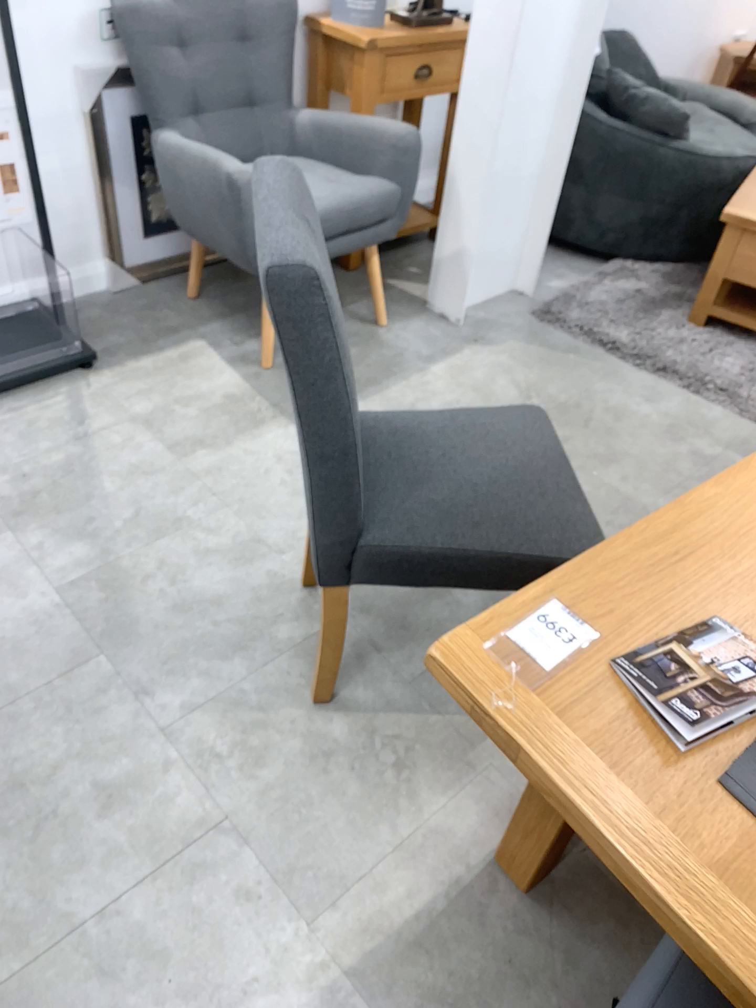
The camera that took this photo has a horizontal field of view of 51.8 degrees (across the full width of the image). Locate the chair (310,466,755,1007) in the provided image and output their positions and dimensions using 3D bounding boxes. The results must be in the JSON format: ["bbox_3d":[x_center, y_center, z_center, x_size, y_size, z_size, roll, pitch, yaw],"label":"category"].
[{"bbox_3d":[0.363,0.562,0.636,0.625,0.899,0.507,-26,52,-32],"label":"chair"}]

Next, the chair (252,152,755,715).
[{"bbox_3d":[0.113,-0.080,1.347,0.642,0.830,0.448,-1,42,-9],"label":"chair"}]

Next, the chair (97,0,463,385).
[{"bbox_3d":[-0.267,-0.927,2.173,0.585,0.830,0.667,36,49,28],"label":"chair"}]
